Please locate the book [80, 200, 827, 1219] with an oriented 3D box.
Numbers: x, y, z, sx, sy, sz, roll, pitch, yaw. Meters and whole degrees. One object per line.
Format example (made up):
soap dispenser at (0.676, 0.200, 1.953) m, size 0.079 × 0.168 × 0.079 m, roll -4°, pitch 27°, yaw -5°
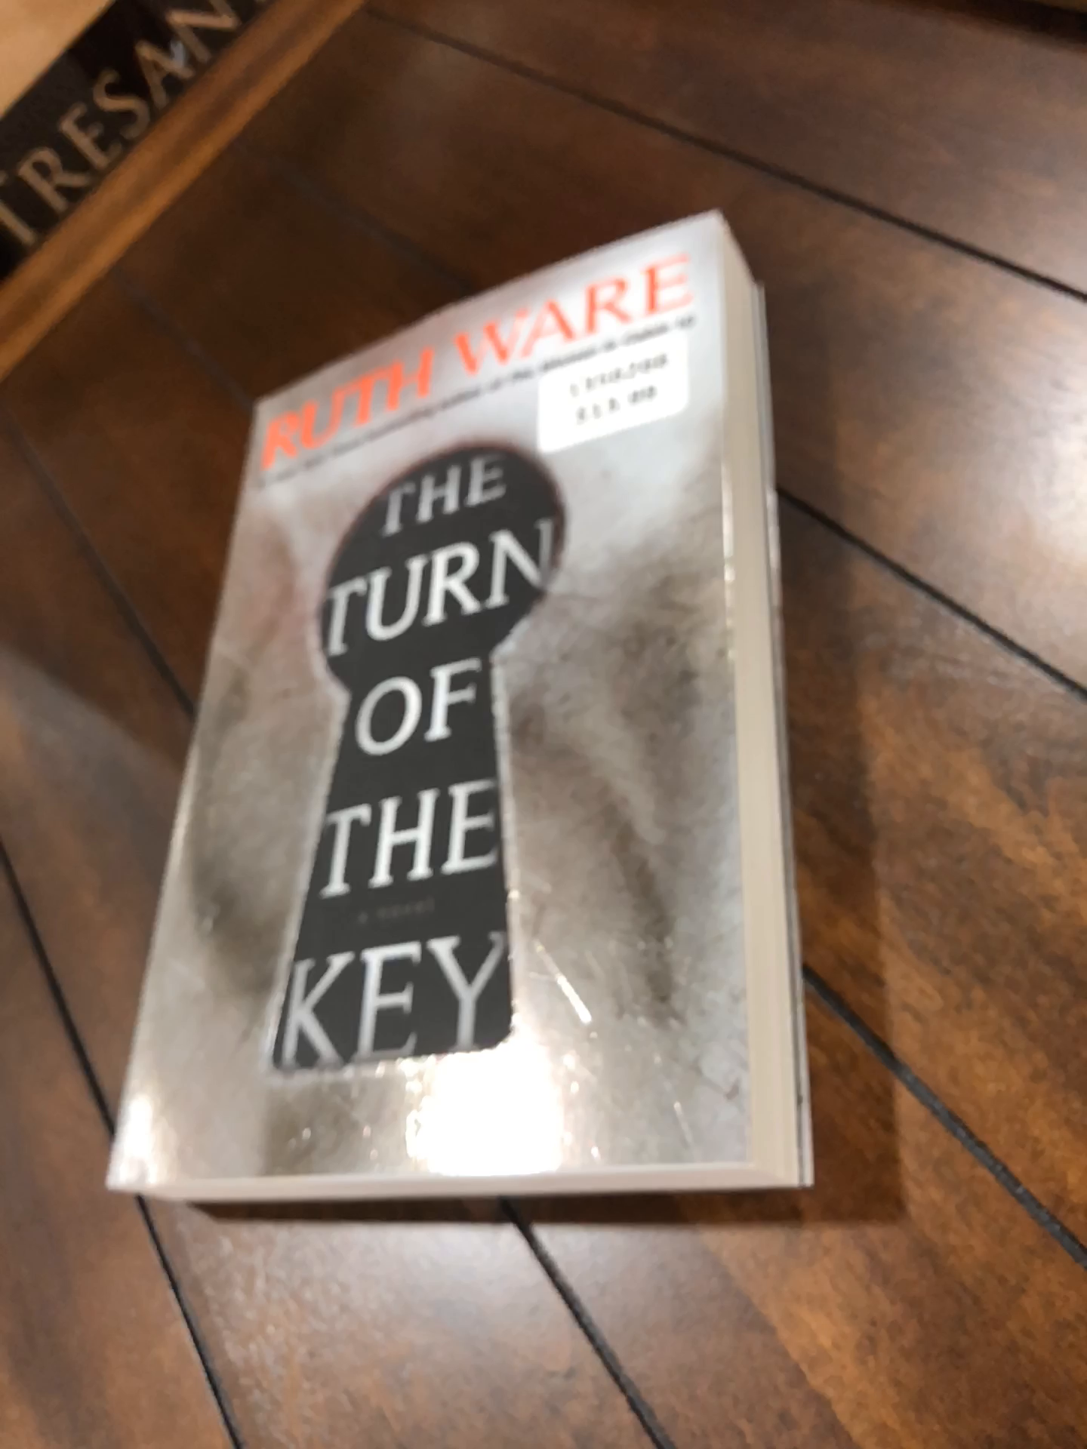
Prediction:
book at (-0.020, -0.007, 0.301) m, size 0.158 × 0.028 × 0.233 m, roll -12°, pitch 58°, yaw 26°
